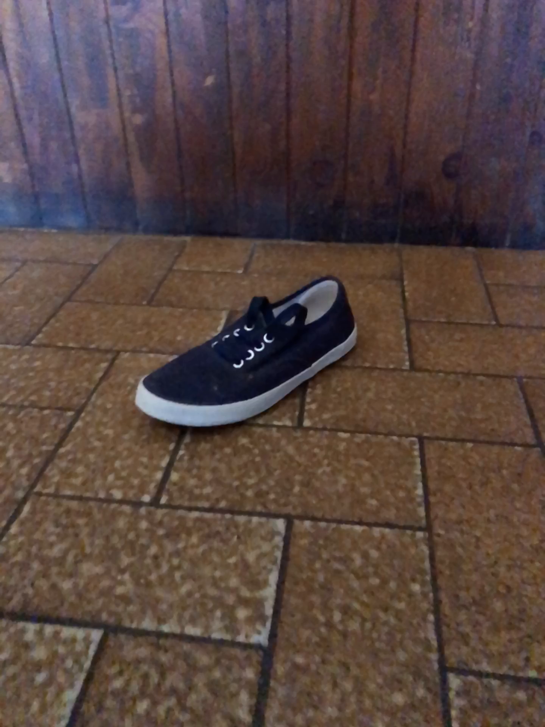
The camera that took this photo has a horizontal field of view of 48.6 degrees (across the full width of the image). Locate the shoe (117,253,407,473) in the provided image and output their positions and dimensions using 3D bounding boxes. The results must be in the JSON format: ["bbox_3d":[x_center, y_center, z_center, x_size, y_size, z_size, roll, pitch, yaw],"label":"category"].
[{"bbox_3d":[0.001,-0.015,0.526,0.241,0.070,0.100,-29,42,-35],"label":"shoe"}]
